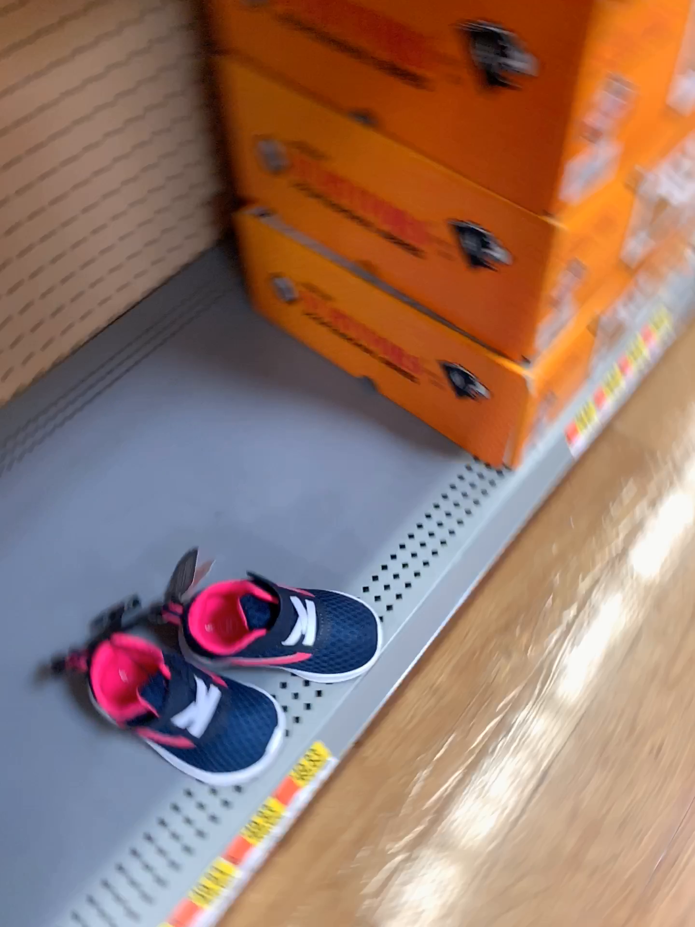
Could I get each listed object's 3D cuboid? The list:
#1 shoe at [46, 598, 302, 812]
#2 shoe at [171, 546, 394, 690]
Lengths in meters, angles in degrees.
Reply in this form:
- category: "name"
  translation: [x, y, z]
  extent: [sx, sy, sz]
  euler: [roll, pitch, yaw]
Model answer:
- category: "shoe"
  translation: [-0.115, 0.166, 0.495]
  extent: [0.145, 0.064, 0.073]
  euler: [22, 61, 15]
- category: "shoe"
  translation: [-0.042, 0.113, 0.524]
  extent: [0.145, 0.064, 0.073]
  euler: [4, 58, 5]
